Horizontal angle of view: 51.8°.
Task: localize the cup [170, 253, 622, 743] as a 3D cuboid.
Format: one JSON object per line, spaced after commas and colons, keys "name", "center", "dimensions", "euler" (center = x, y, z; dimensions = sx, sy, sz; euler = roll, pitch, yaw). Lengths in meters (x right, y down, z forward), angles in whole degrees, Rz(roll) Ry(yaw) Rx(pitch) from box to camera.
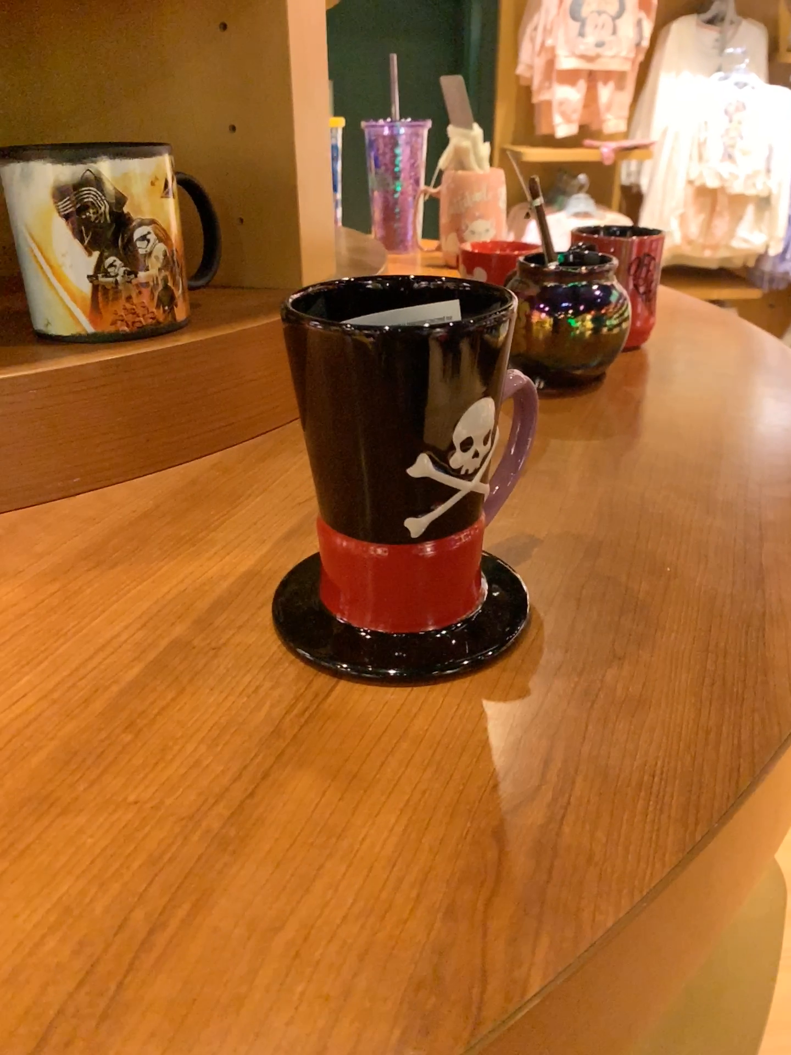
{"name": "cup", "center": [0.003, -0.026, 0.342], "dimensions": [0.110, 0.144, 0.134], "euler": [24, 35, 38]}
